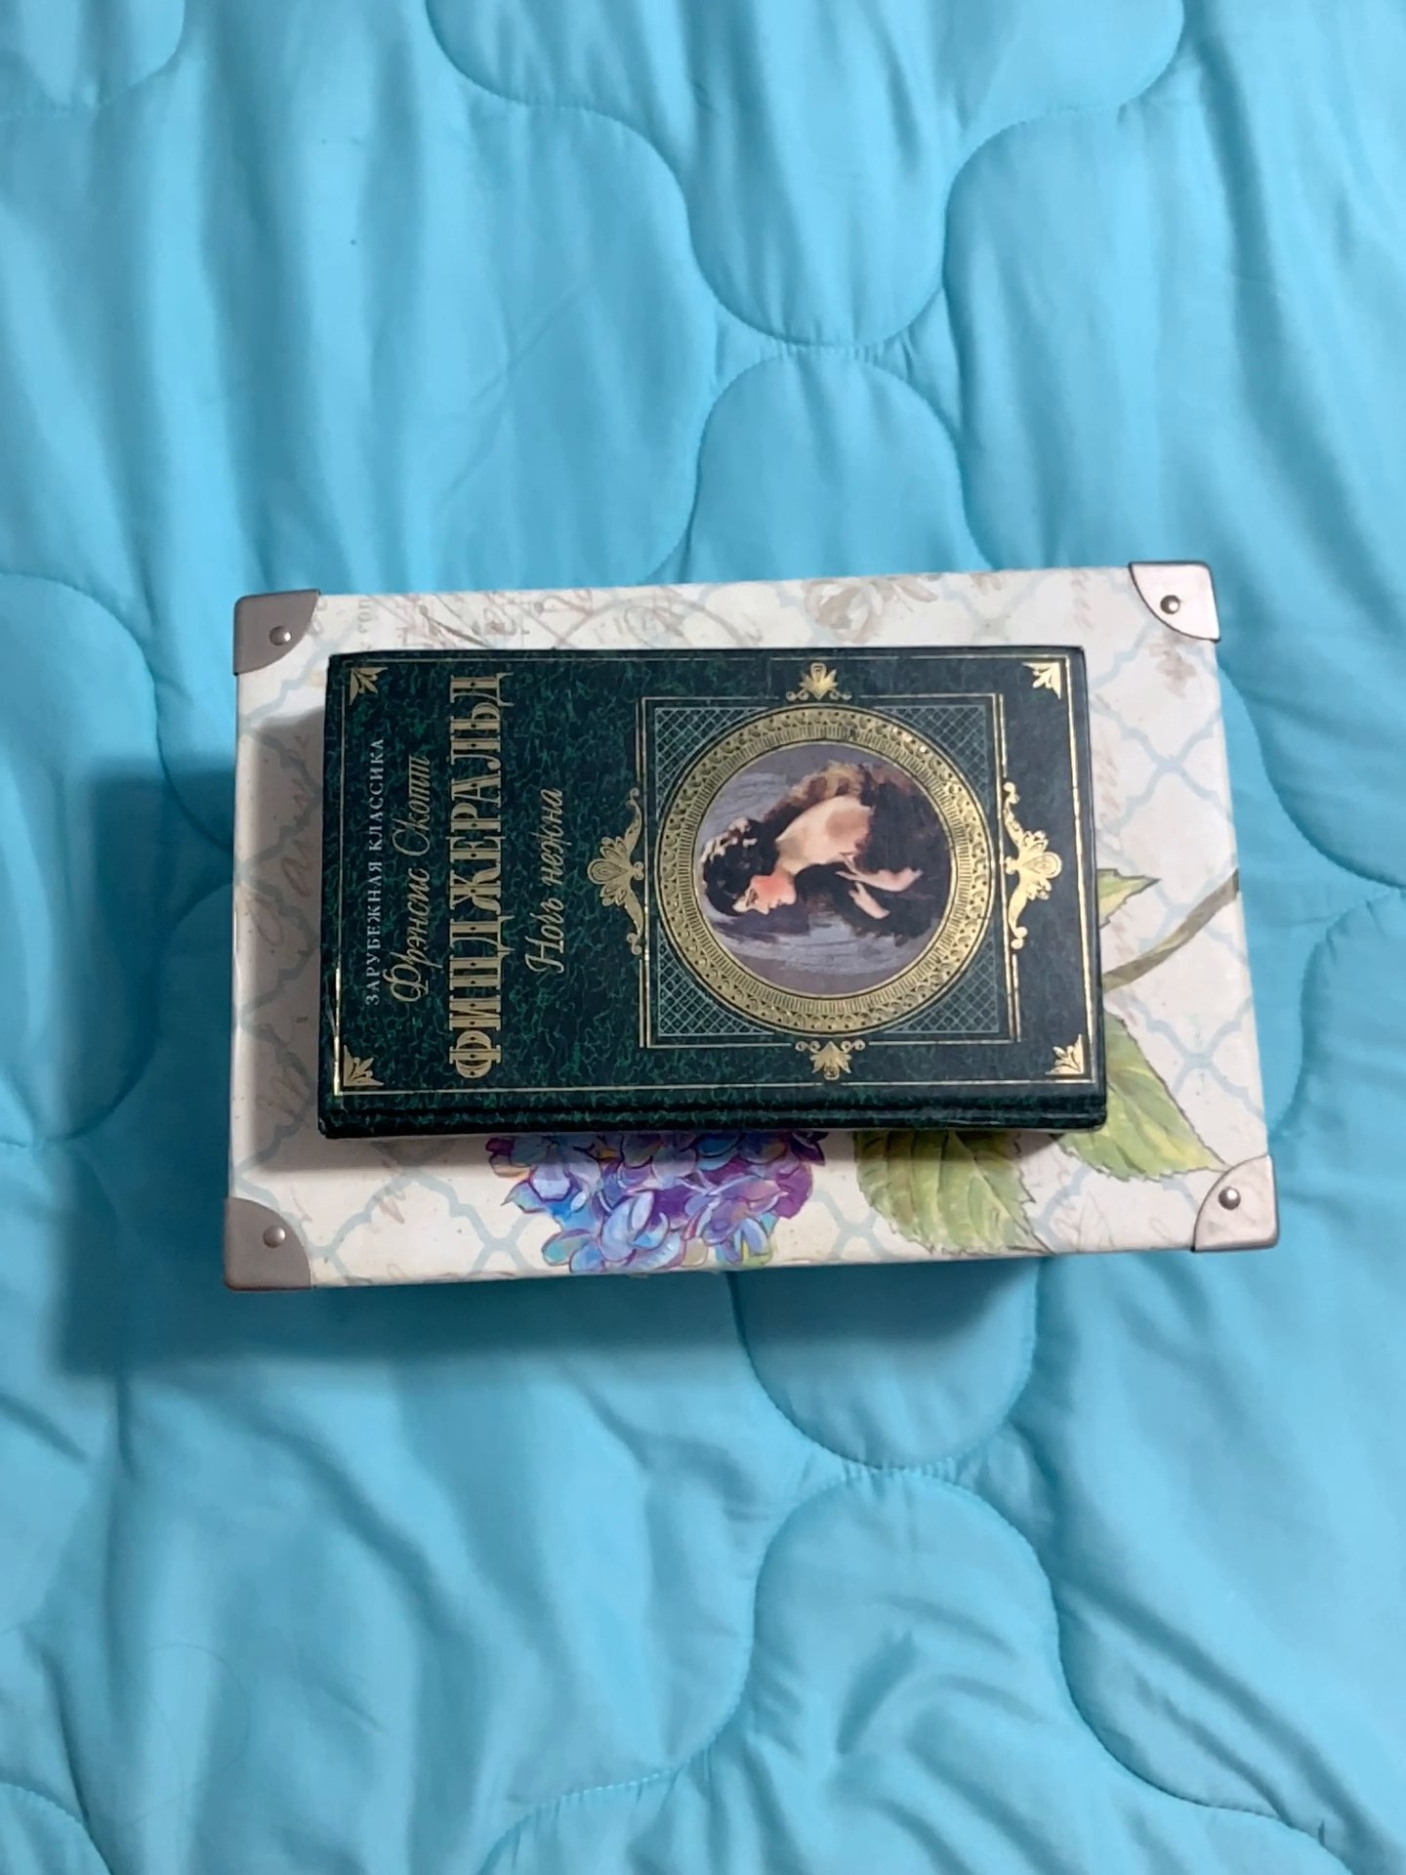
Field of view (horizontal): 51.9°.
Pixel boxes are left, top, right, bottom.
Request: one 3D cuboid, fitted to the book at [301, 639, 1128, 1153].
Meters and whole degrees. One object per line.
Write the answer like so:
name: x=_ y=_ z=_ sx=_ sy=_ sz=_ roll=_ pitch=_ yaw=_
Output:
book: x=0.002 y=-0.012 z=0.410 sx=0.220 sy=0.030 sz=0.140 roll=-1 pitch=81 yaw=-1
